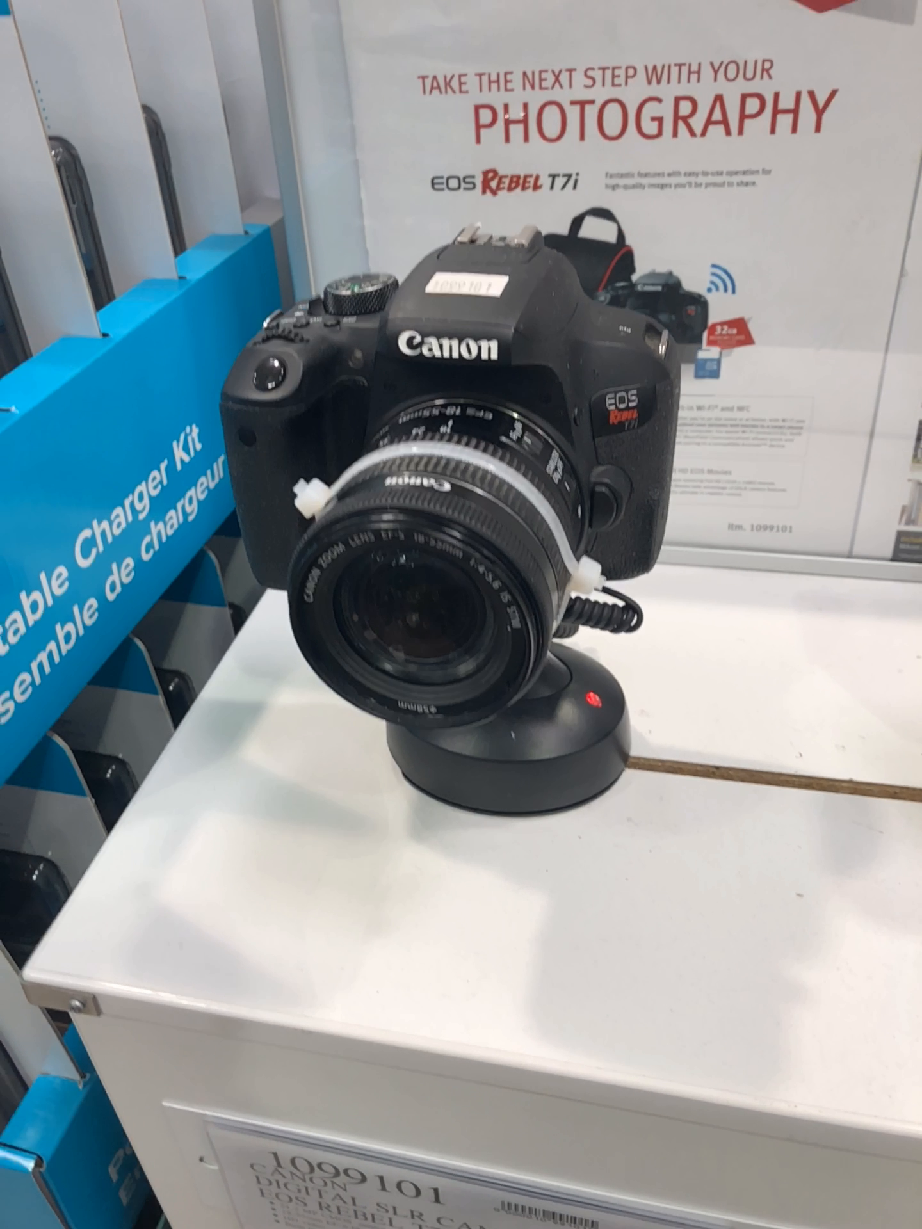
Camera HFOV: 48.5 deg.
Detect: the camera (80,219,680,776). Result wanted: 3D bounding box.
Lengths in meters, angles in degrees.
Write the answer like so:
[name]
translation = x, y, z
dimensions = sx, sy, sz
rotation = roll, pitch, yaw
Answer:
[camera]
translation = -0.006, -0.047, 0.310
dimensions = 0.130, 0.100, 0.151
rotation = 4, 36, 11
